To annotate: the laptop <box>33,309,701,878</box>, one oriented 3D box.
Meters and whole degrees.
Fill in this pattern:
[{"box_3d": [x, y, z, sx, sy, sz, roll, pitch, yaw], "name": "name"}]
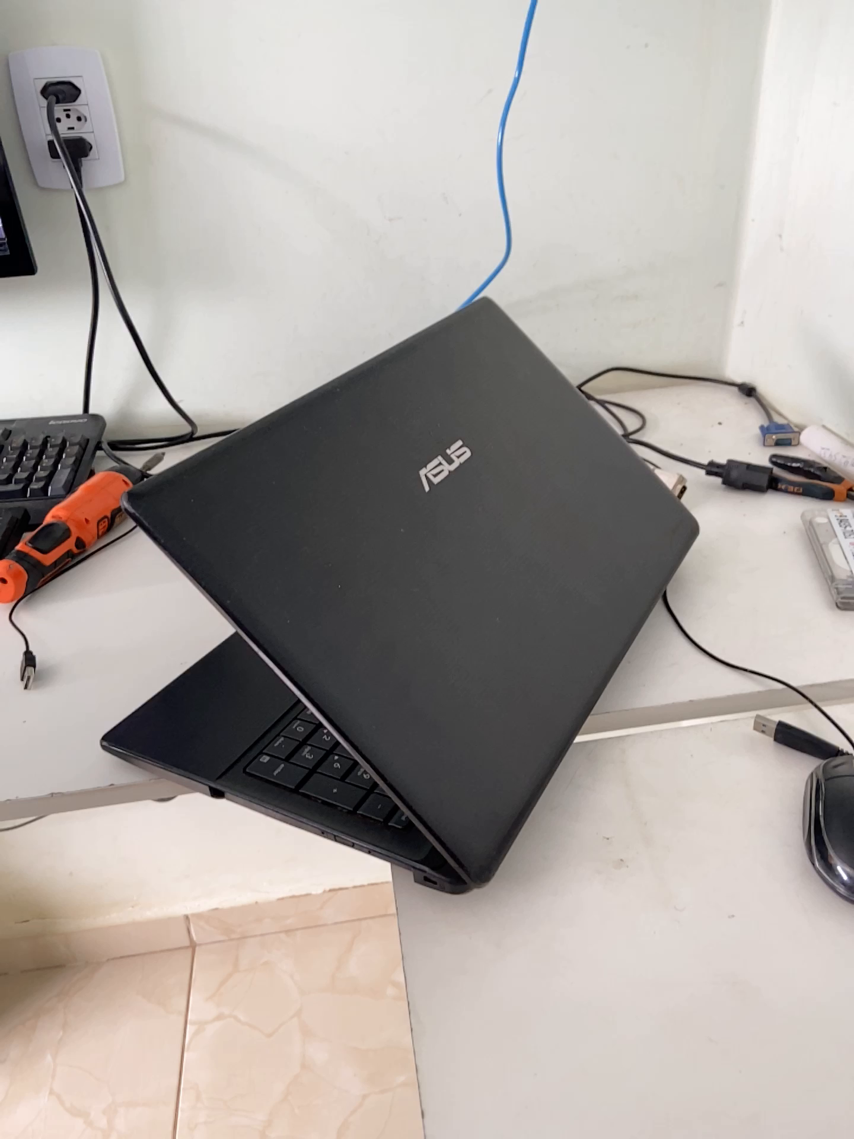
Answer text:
[{"box_3d": [-0.004, -0.036, 0.573, 0.247, 0.166, 0.378, 12, 34, 29], "name": "laptop"}]
